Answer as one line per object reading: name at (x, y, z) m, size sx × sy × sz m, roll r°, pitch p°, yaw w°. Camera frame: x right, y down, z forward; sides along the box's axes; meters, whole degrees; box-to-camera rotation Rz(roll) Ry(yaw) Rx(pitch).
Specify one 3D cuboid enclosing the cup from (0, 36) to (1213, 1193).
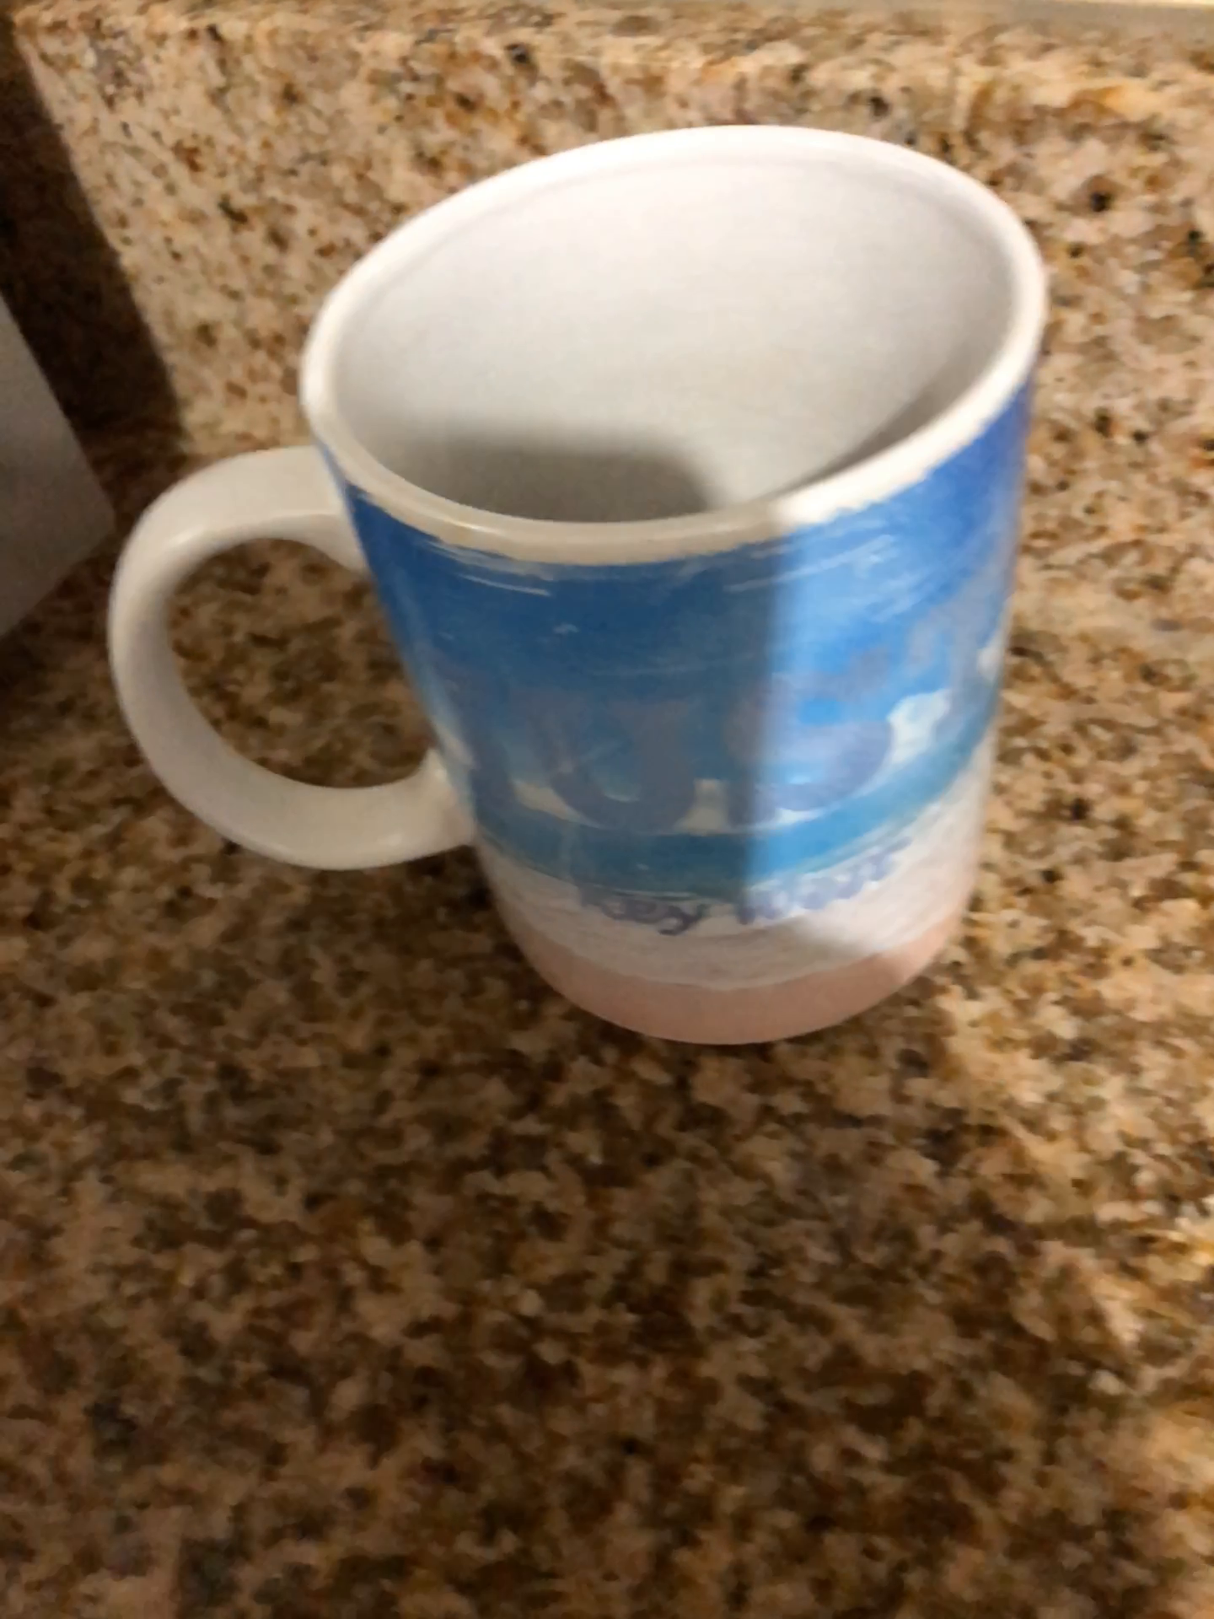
cup at (0.003, -0.022, 0.174) m, size 0.130 × 0.090 × 0.090 m, roll -9°, pitch 49°, yaw 2°
